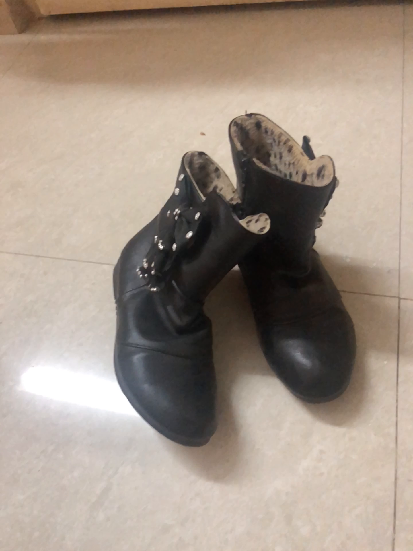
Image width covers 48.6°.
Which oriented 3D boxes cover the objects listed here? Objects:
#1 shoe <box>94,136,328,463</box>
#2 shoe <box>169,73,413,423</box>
[{"bbox_3d":[-0.018,0.017,0.363,0.090,0.139,0.201,6,49,-28],"label":"shoe"},{"bbox_3d":[0.054,-0.025,0.359,0.090,0.139,0.221,-18,55,-2],"label":"shoe"}]
